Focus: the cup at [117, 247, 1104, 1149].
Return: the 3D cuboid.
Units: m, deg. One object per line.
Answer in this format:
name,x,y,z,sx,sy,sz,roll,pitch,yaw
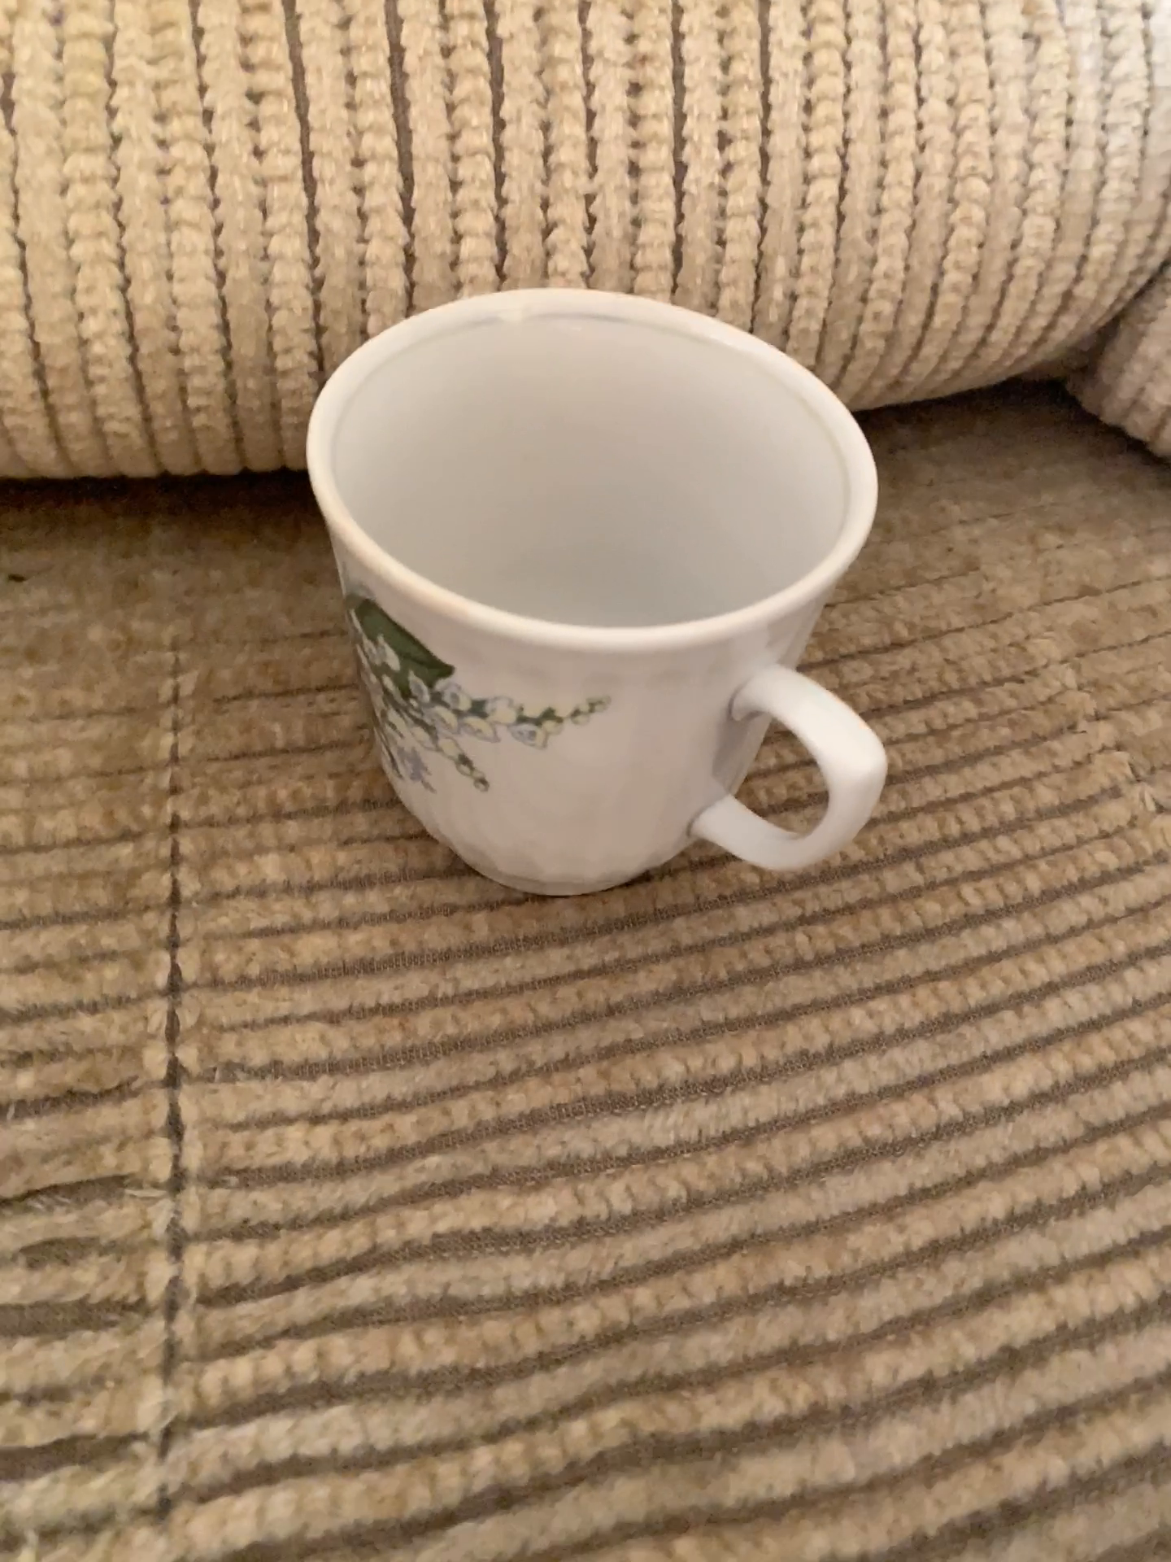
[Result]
cup,0.004,-0.023,0.208,0.113,0.077,0.096,30,51,25
